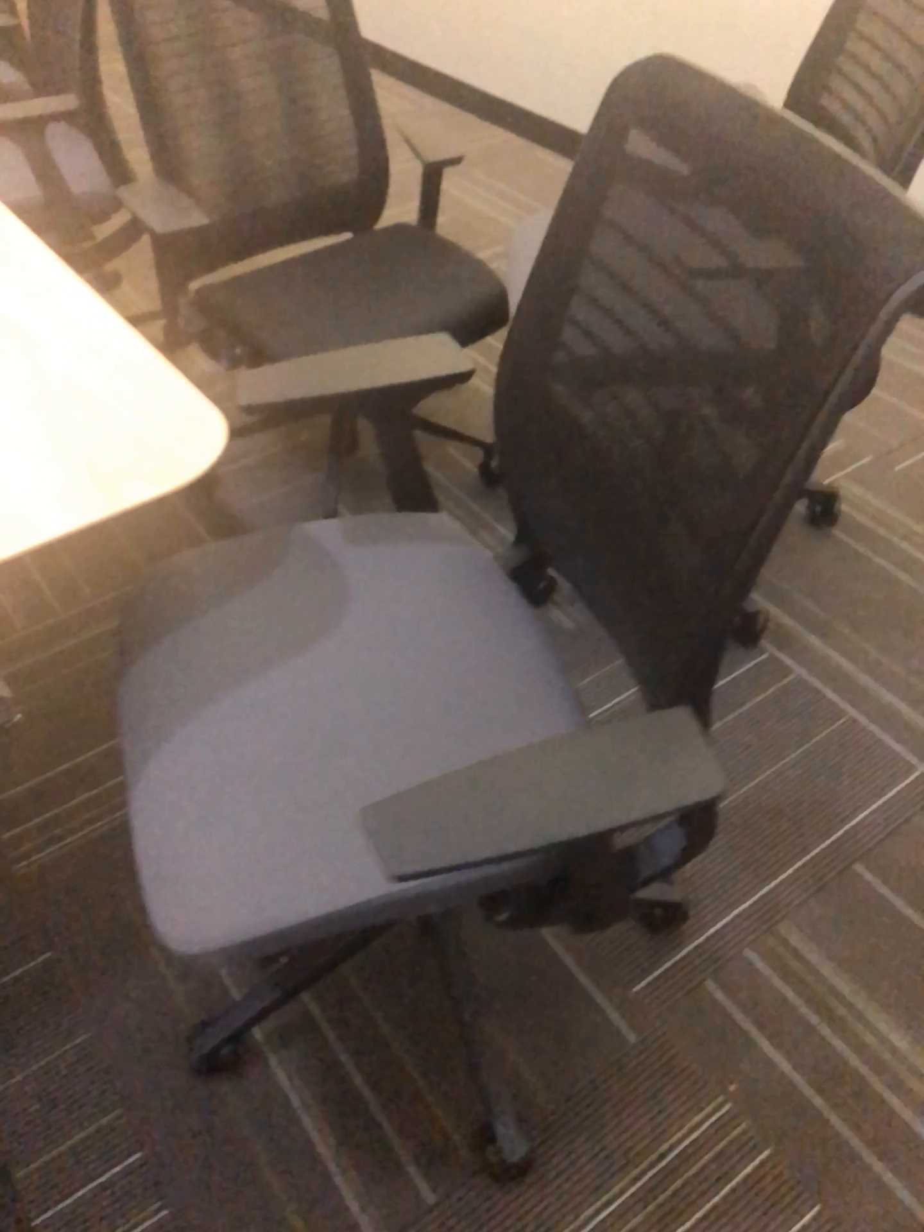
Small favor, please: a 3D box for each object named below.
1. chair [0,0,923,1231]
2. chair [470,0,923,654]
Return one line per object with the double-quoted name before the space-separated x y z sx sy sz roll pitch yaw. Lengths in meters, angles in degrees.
"chair" -0.061 0.060 0.997 0.721 0.962 0.735 -12 44 -11
"chair" 0.402 -0.557 1.641 0.710 0.962 0.726 -4 43 -2
